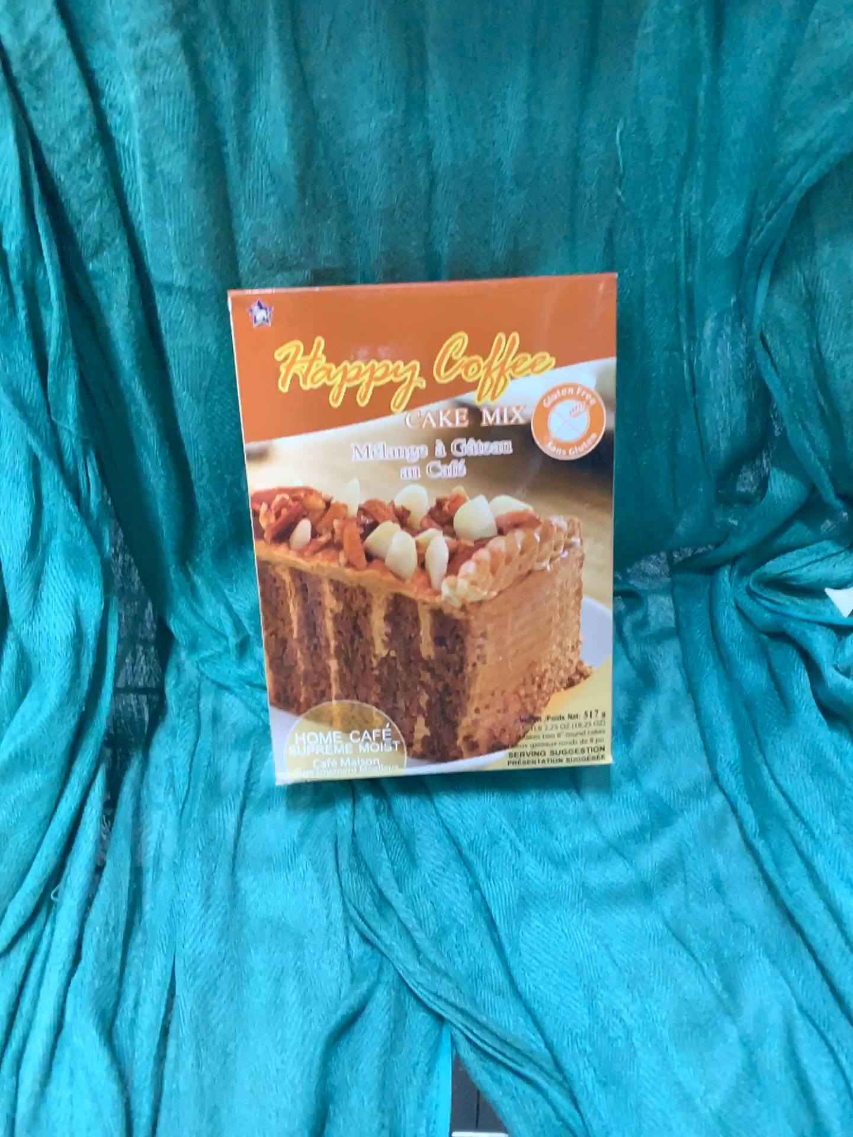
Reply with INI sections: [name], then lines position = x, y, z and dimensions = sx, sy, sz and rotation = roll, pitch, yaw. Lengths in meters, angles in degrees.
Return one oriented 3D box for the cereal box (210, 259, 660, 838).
[cereal box]
position = 0.006, -0.006, 0.343
dimensions = 0.150, 0.210, 0.050
rotation = -3, 15, -2
